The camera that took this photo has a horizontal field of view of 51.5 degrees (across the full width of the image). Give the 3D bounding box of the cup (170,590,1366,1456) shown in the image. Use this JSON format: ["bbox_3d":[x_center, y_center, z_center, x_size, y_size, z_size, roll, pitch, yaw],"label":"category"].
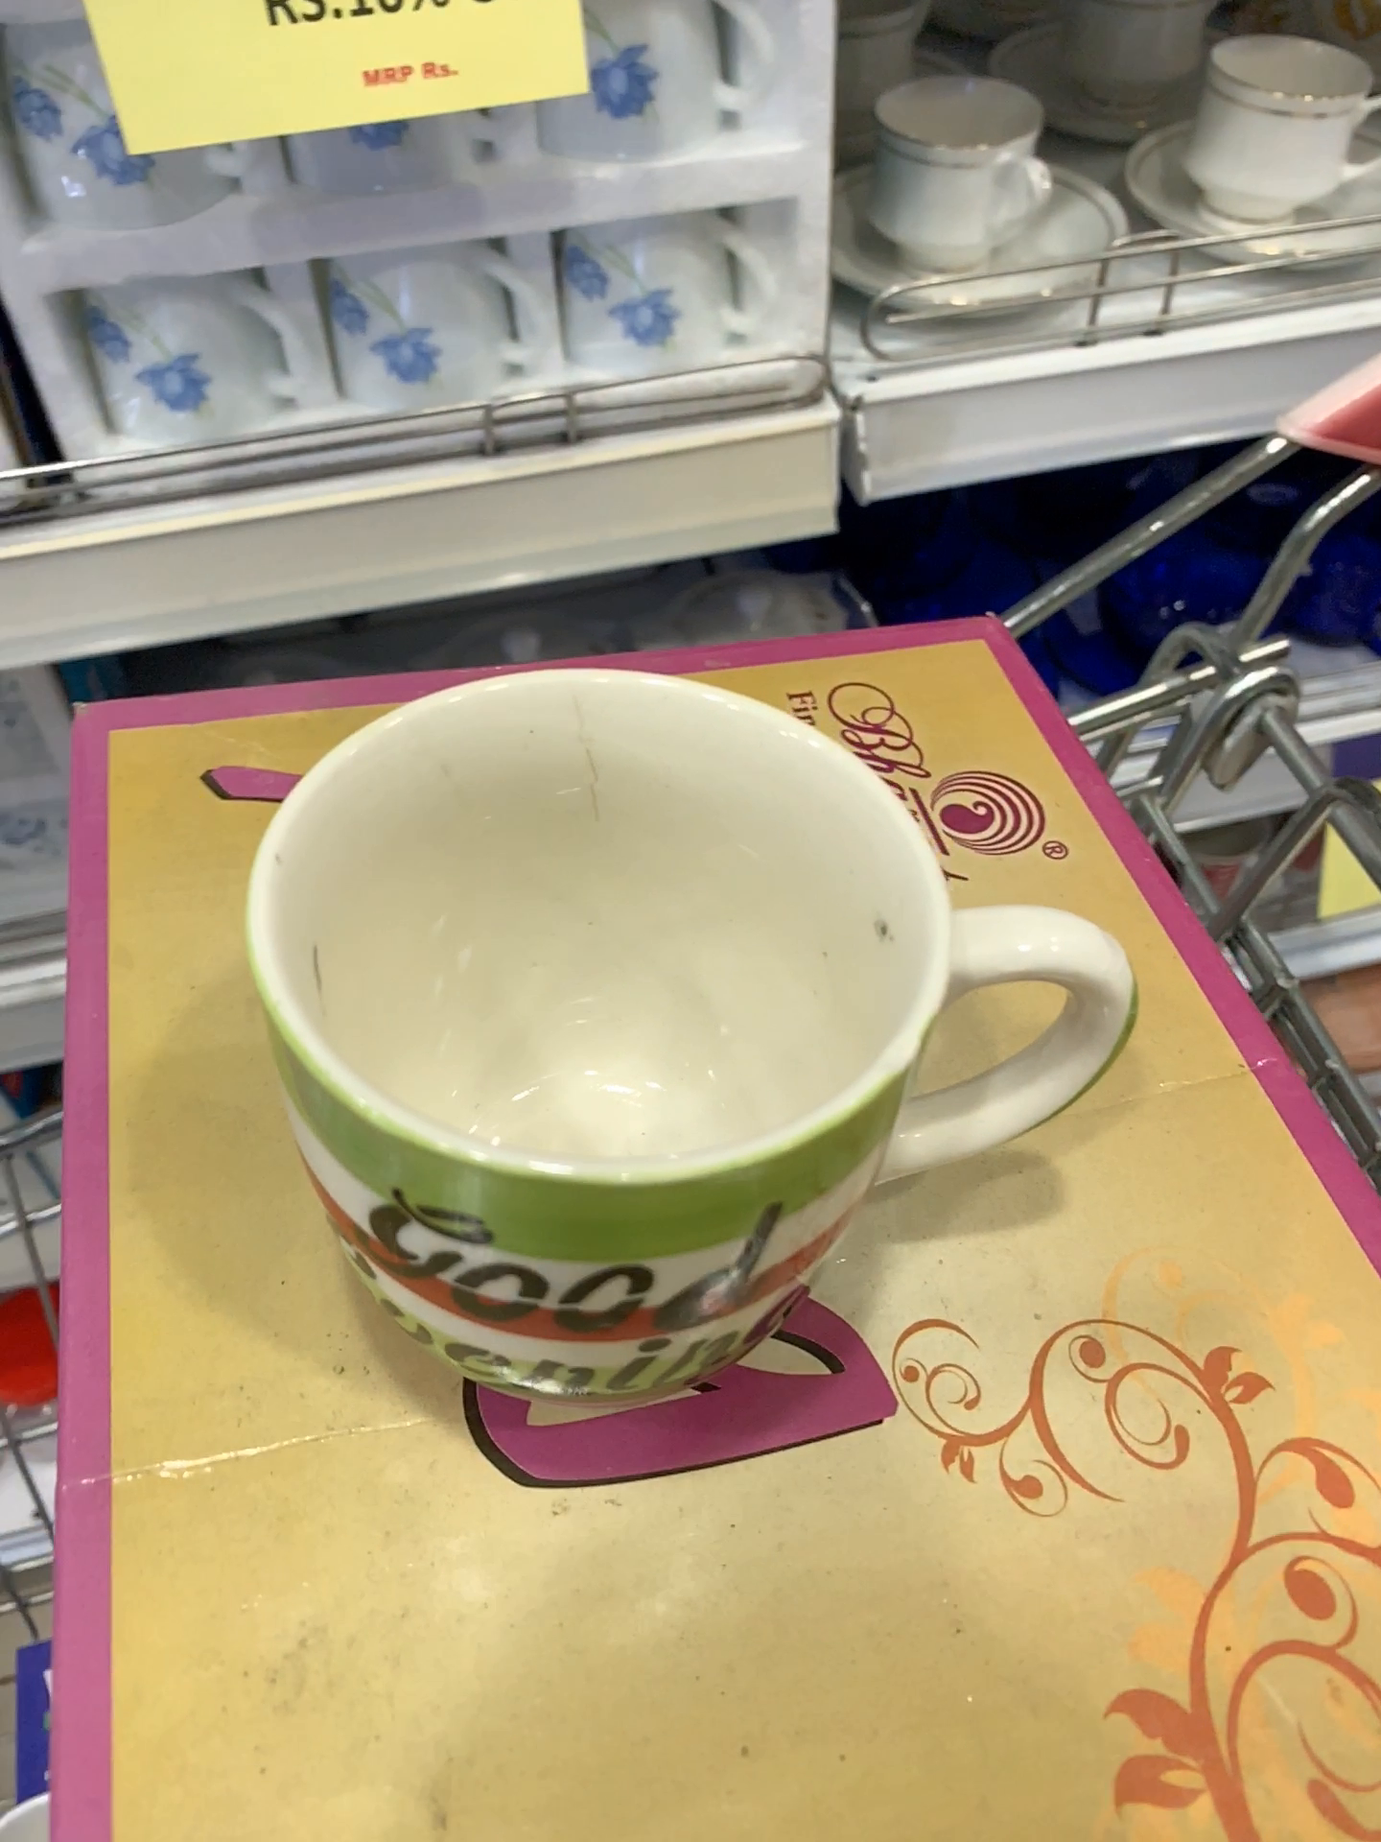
[{"bbox_3d":[0.003,0.008,0.178,0.110,0.060,0.080,-4,45,-7],"label":"cup"}]
